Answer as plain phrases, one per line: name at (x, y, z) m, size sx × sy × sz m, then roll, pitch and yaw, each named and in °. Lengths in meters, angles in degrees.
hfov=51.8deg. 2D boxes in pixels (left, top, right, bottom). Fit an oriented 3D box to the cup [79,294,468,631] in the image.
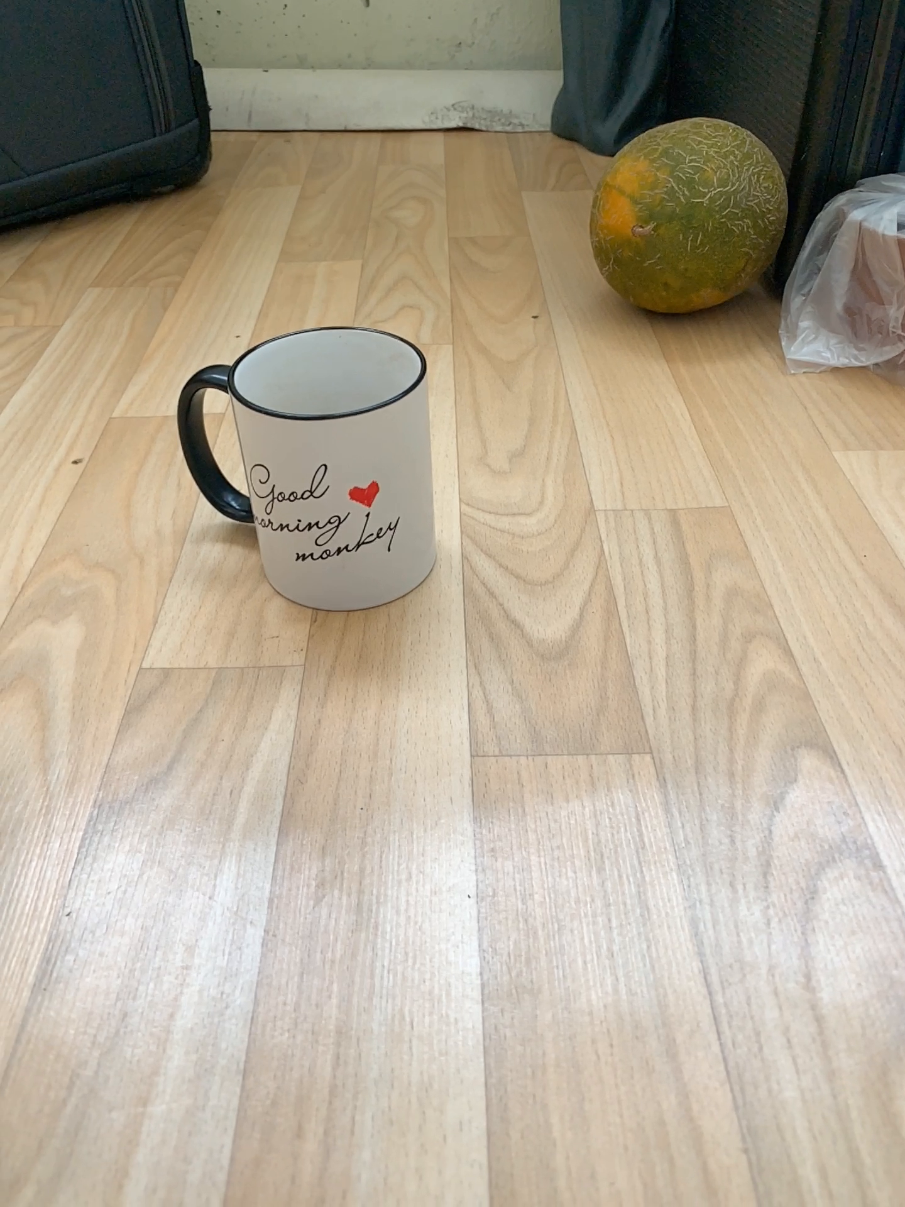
cup at (-0.066, -0.062, 0.397) m, size 0.130 × 0.100 × 0.080 m, roll 9°, pitch 41°, yaw 11°
